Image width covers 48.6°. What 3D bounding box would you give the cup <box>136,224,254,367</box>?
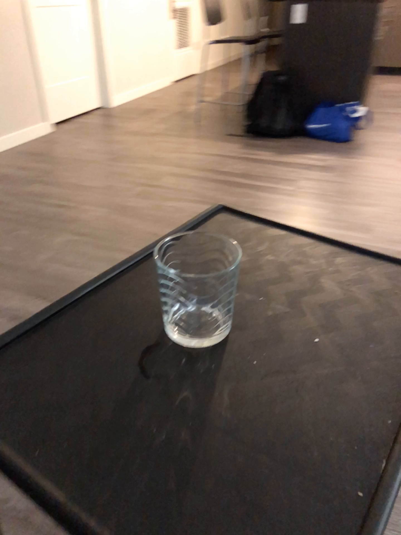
[{"bbox_3d":[-0.003,0.025,0.463,0.090,0.099,0.090,0,32,0],"label":"cup"}]
